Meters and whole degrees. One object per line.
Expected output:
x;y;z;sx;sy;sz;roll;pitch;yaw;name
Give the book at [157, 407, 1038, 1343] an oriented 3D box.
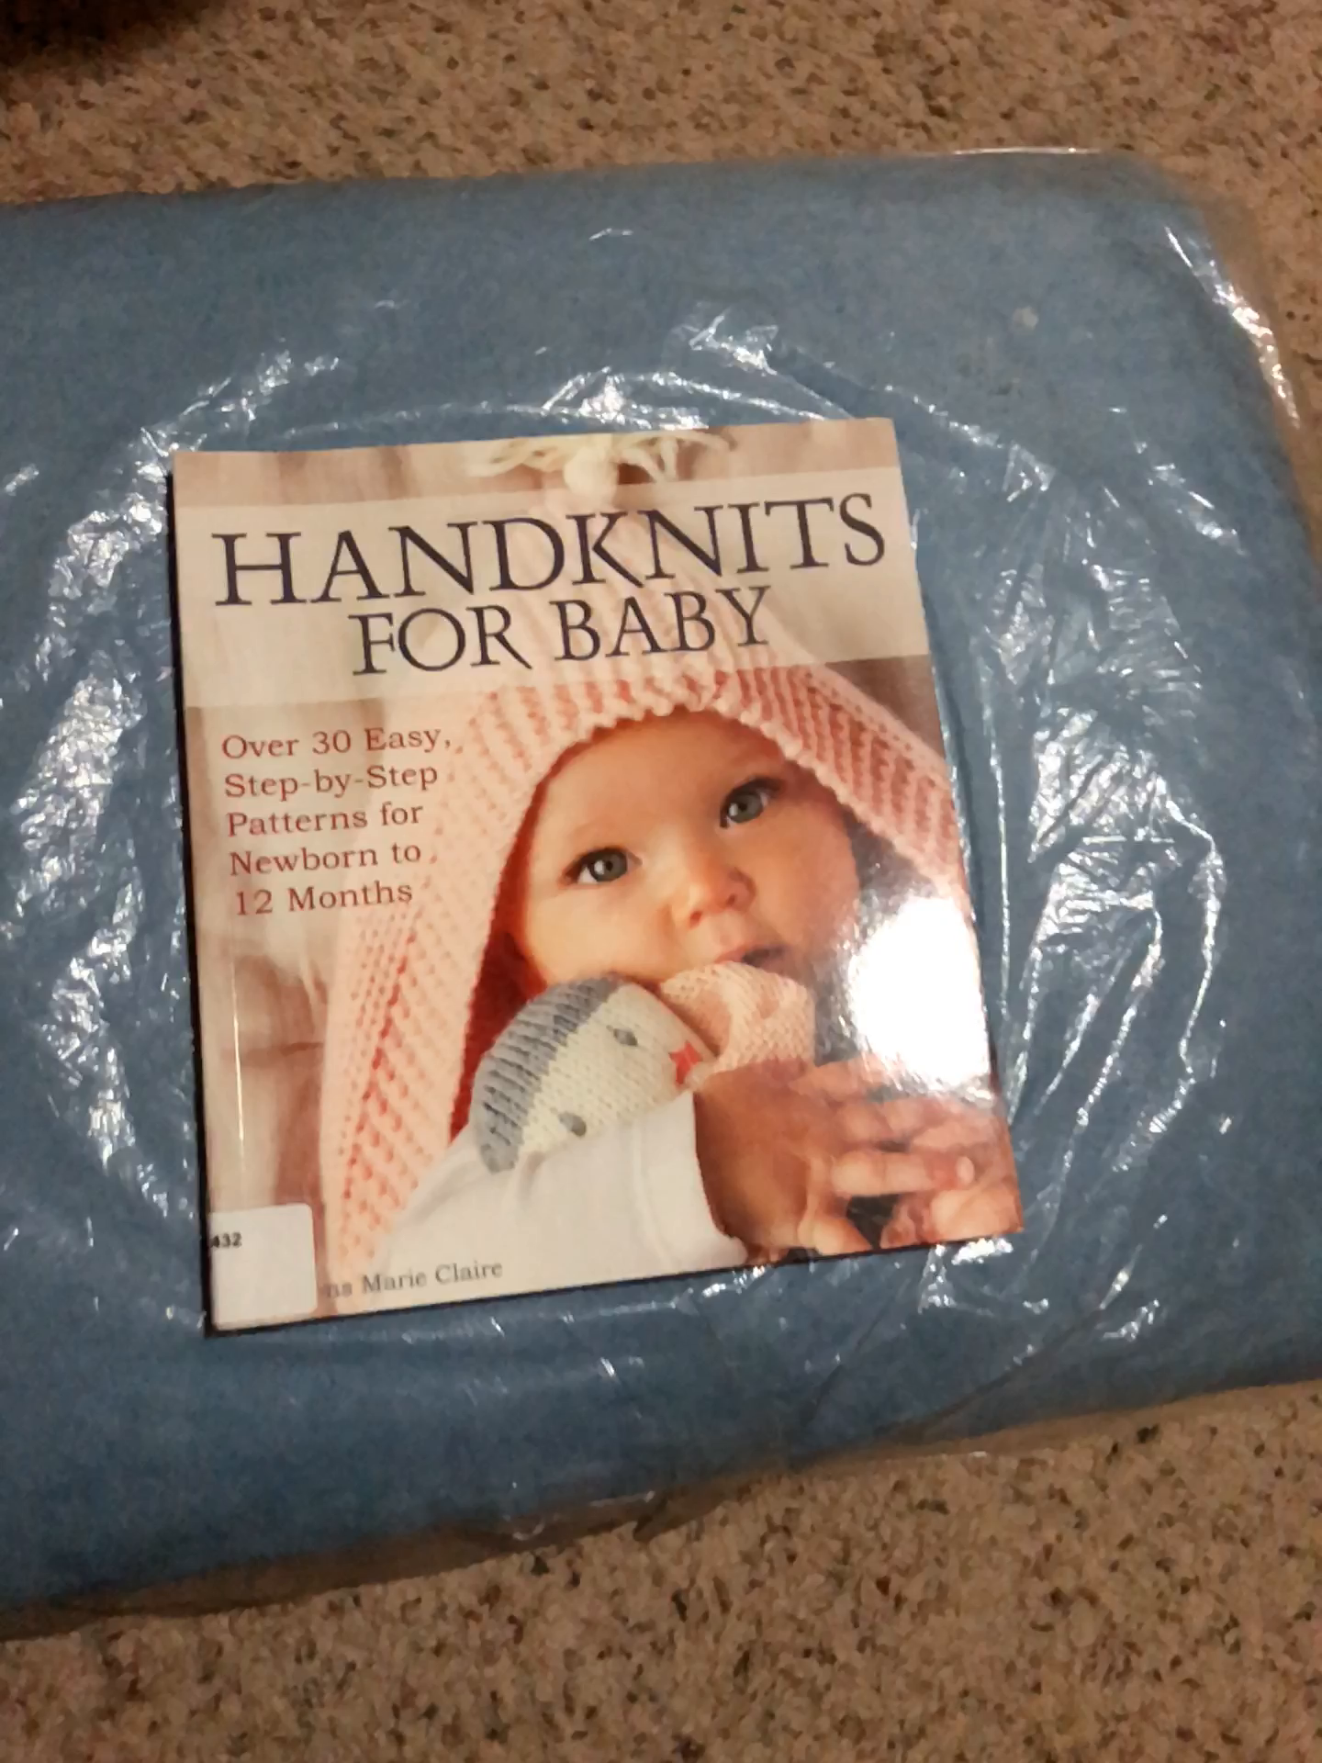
-0.019;-0.010;0.373;0.196;0.020;0.220;-5;79;-7;book
